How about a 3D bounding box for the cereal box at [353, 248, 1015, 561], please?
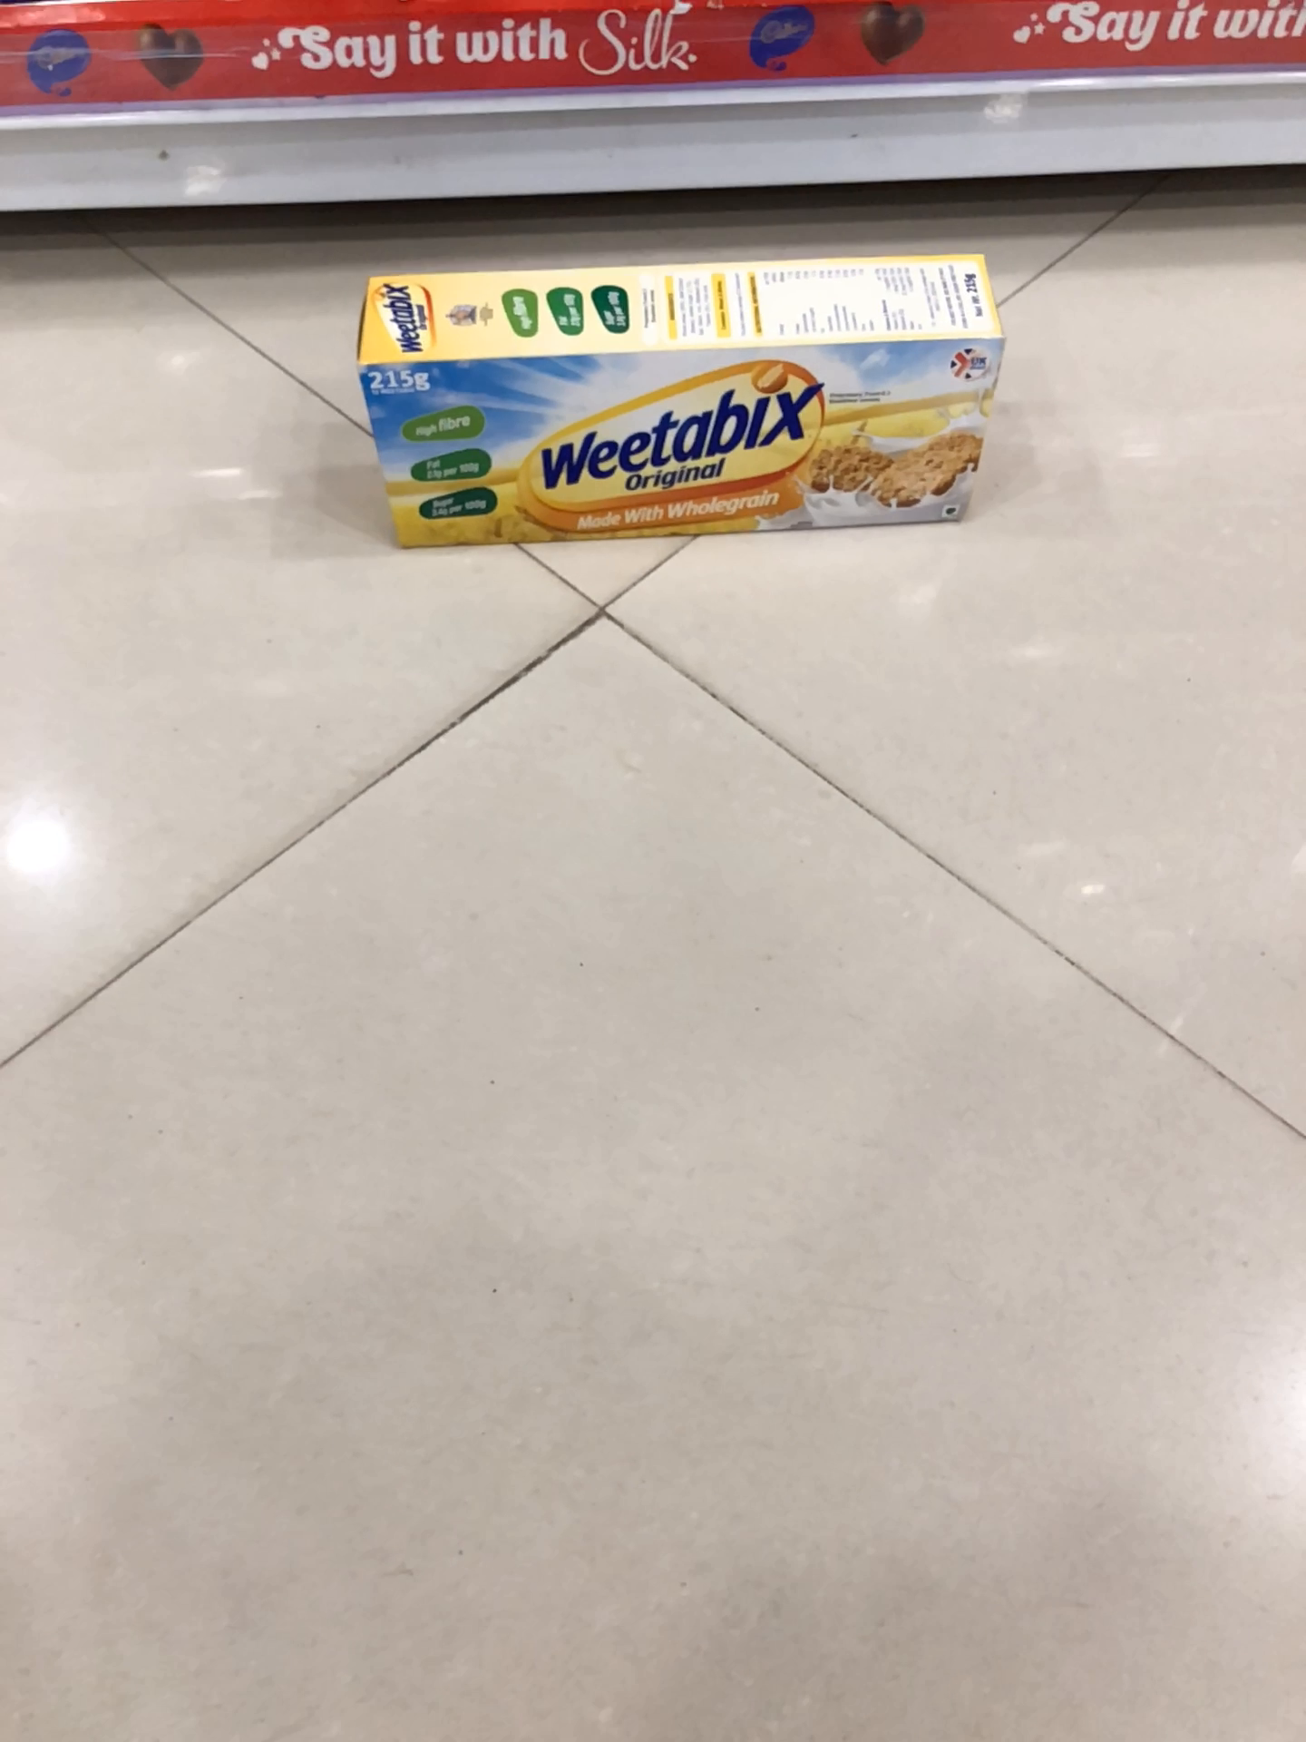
[{"bbox_3d":[0.011,-0.192,0.603,0.250,0.099,0.060,-3,58,-1],"label":"cereal box"}]
